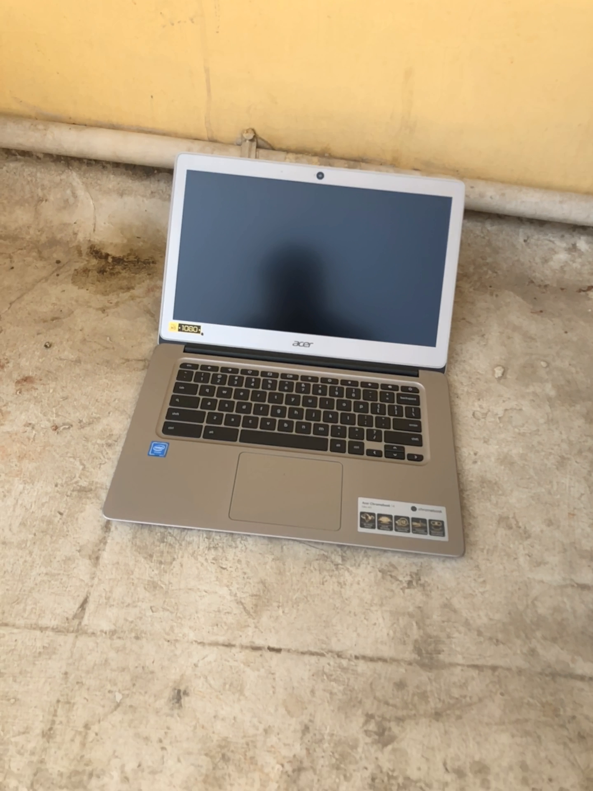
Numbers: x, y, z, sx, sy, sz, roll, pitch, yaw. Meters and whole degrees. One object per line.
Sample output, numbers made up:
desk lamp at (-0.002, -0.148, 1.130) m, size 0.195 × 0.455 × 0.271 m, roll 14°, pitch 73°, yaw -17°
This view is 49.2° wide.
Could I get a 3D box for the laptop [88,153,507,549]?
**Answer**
laptop at (0.012, -0.068, 0.657) m, size 0.315 × 0.136 × 0.380 m, roll 6°, pitch 50°, yaw 1°
